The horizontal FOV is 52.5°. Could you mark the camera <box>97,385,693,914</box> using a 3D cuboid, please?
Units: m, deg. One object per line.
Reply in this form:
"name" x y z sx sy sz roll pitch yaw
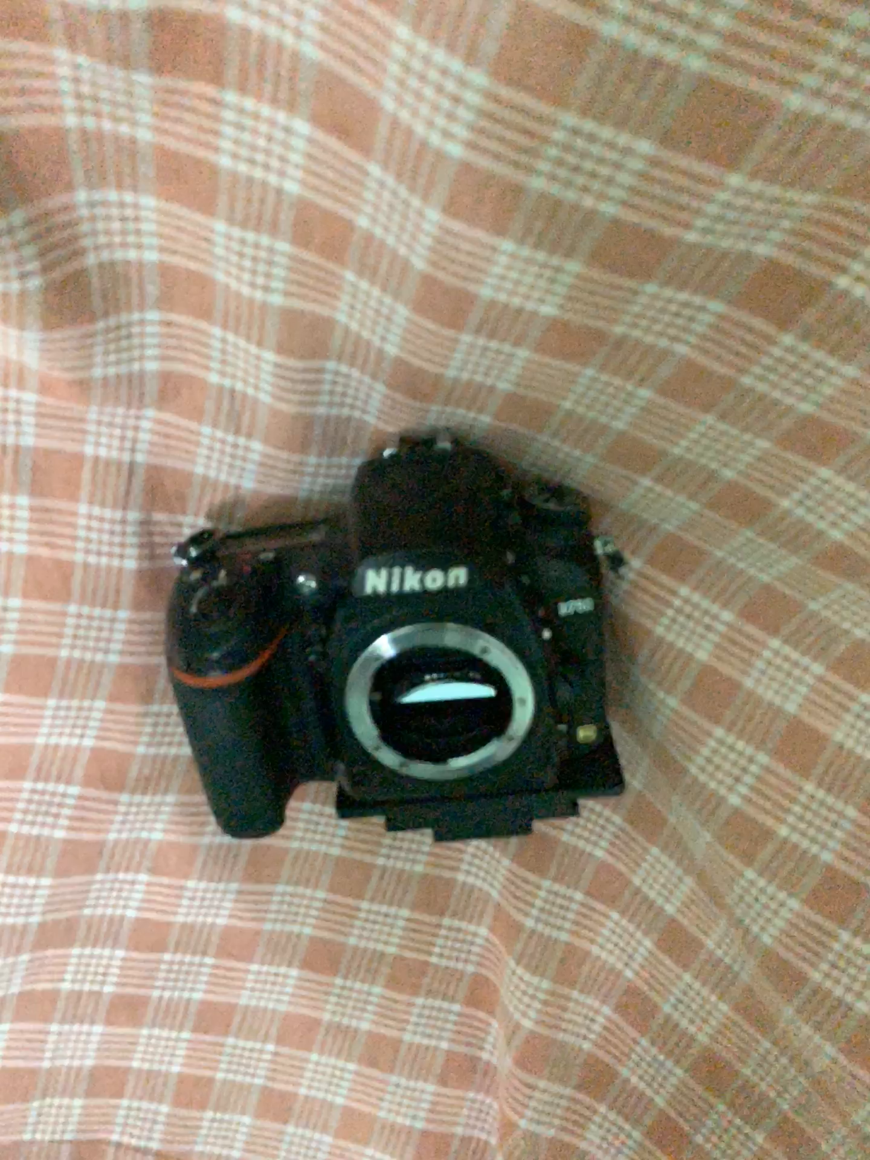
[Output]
"camera" -0.003 0.021 0.279 0.145 0.085 0.125 -7 118 3
